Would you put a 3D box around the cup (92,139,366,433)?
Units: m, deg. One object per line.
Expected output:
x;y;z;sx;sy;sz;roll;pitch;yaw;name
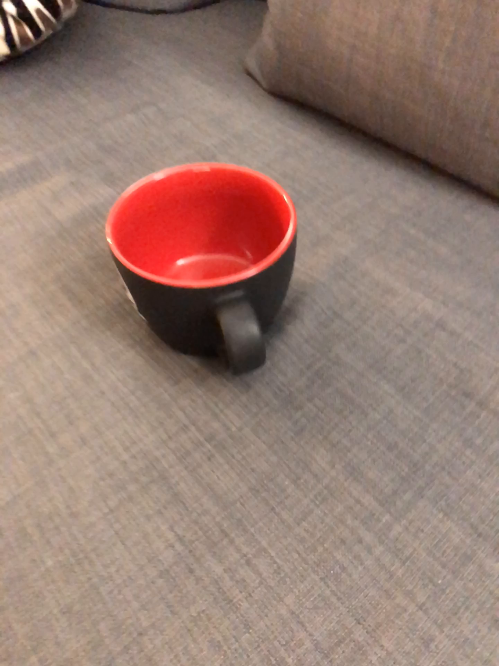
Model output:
-0.021;-0.040;0.362;0.120;0.080;0.161;-16;48;-11;cup
